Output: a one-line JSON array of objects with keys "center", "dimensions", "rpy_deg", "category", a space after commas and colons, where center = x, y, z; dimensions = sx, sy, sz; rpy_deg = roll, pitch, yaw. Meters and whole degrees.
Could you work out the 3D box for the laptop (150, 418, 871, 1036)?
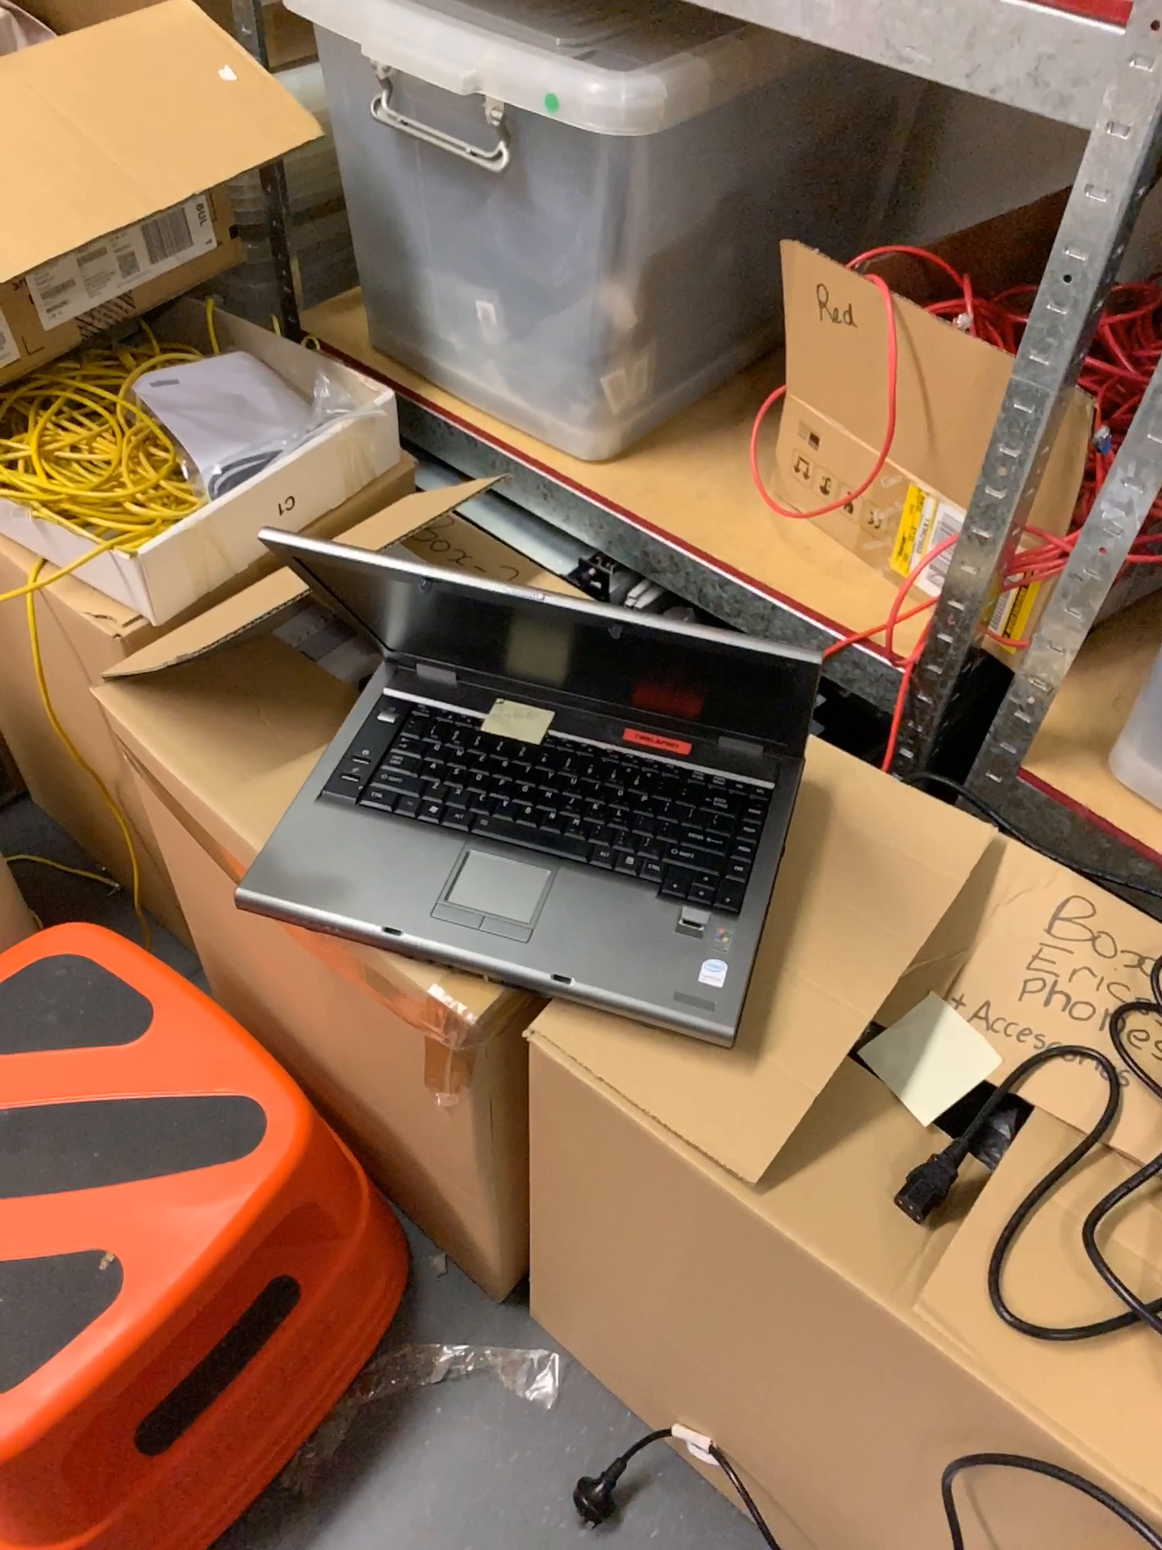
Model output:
[{"center": [-0.031, -0.042, 0.792], "dimensions": [0.360, 0.238, 0.263], "rpy_deg": [14, 48, 11], "category": "laptop"}]
